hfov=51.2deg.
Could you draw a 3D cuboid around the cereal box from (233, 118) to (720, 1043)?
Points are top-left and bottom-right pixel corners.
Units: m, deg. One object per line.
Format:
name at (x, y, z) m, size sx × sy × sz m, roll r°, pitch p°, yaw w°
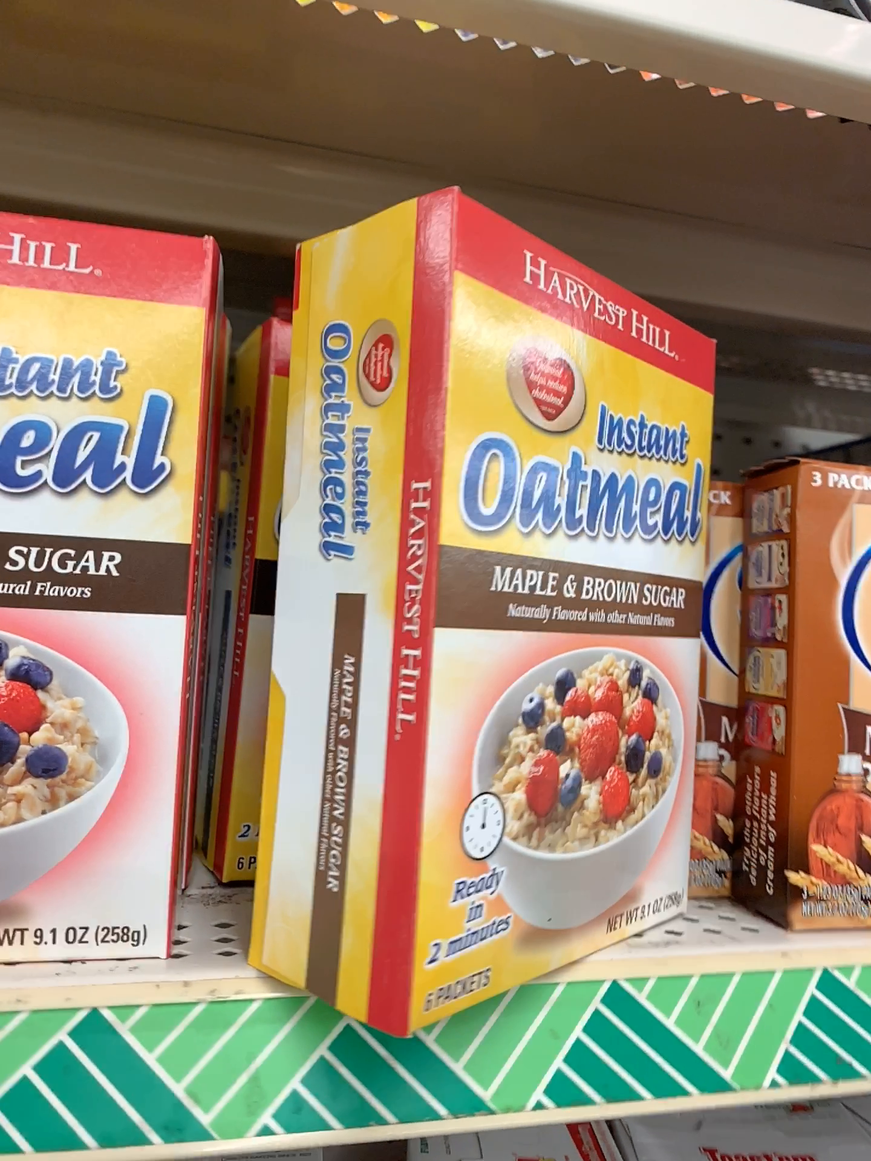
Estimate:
cereal box at (0.021, 0.002, 0.241) m, size 0.050 × 0.180 × 0.130 m, roll 0°, pitch -4°, yaw 42°
